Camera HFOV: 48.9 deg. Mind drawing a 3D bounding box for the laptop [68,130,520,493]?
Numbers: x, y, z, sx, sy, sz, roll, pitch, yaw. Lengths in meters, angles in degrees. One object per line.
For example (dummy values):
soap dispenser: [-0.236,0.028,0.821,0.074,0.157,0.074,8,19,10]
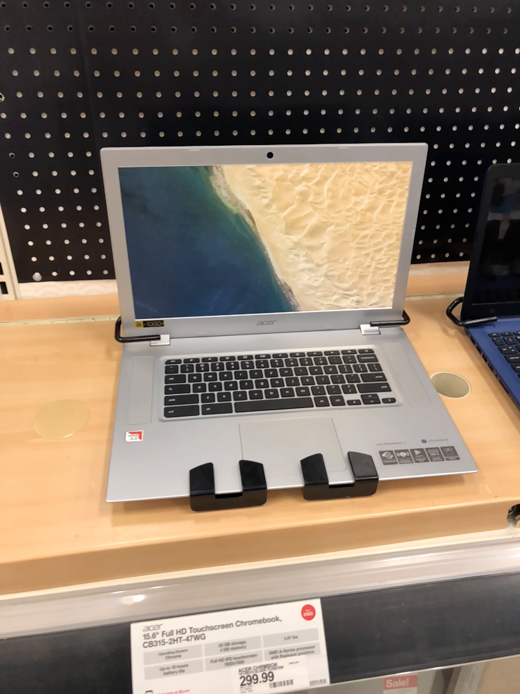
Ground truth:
laptop: [0.020,-0.063,0.628,0.371,0.246,0.287,-4,33,-6]
